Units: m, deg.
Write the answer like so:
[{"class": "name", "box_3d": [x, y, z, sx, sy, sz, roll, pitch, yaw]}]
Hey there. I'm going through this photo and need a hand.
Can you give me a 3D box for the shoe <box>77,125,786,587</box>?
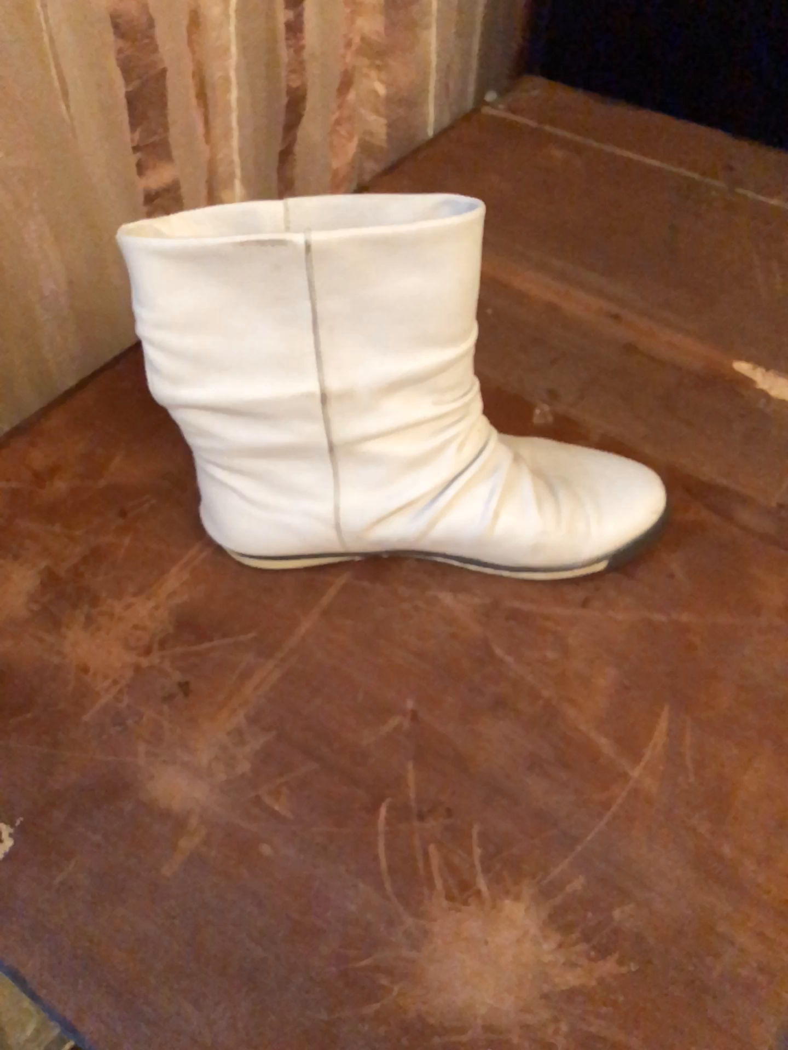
[{"class": "shoe", "box_3d": [0.013, -0.068, 0.394, 0.240, 0.169, 0.100, 2, 49, 1]}]
